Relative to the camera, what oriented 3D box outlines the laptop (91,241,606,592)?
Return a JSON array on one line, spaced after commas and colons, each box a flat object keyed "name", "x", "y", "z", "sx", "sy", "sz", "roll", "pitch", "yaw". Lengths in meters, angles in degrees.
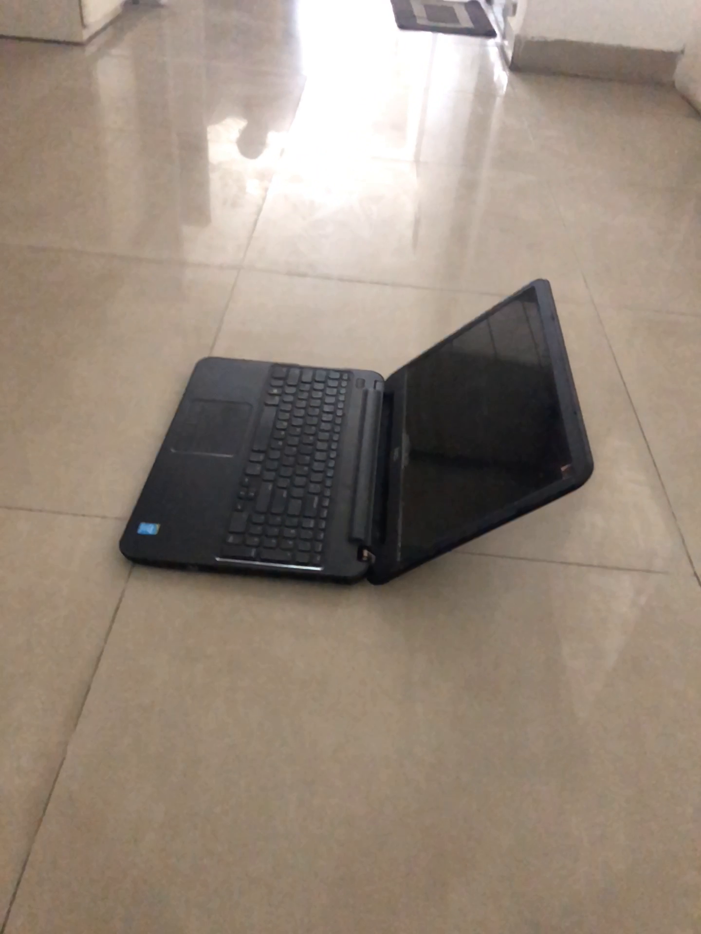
[{"name": "laptop", "x": 0.006, "y": -0.075, "z": 0.826, "sx": 0.427, "sy": 0.163, "sz": 0.360, "roll": 5, "pitch": 41, "yaw": 2}]
